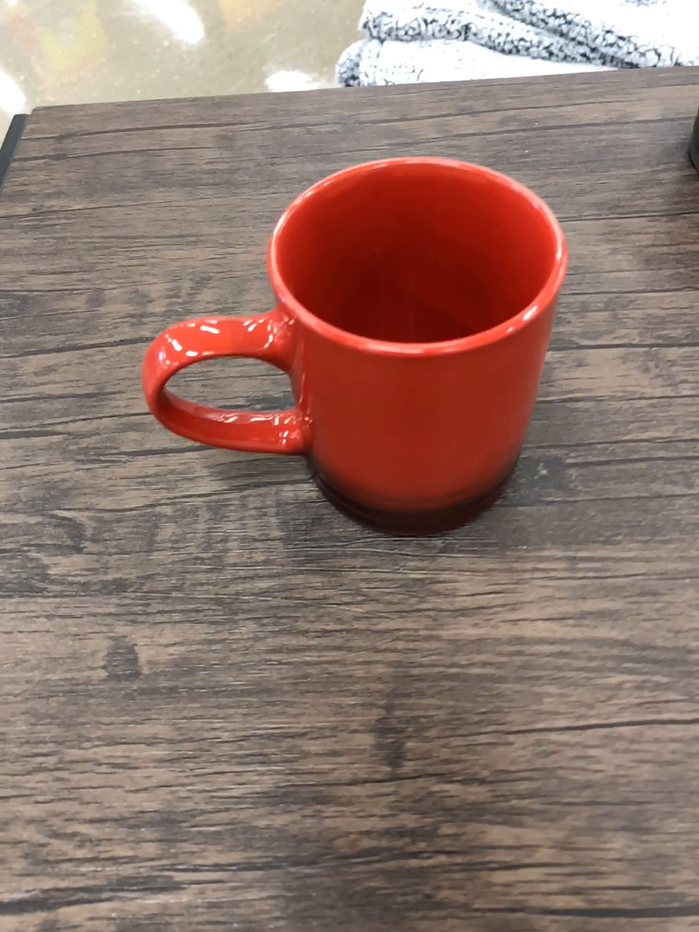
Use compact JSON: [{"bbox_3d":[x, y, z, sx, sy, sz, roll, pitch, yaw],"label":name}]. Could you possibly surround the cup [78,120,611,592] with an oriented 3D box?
[{"bbox_3d":[-0.005,-0.035,0.275,0.140,0.110,0.100,-8,54,-2],"label":"cup"}]
